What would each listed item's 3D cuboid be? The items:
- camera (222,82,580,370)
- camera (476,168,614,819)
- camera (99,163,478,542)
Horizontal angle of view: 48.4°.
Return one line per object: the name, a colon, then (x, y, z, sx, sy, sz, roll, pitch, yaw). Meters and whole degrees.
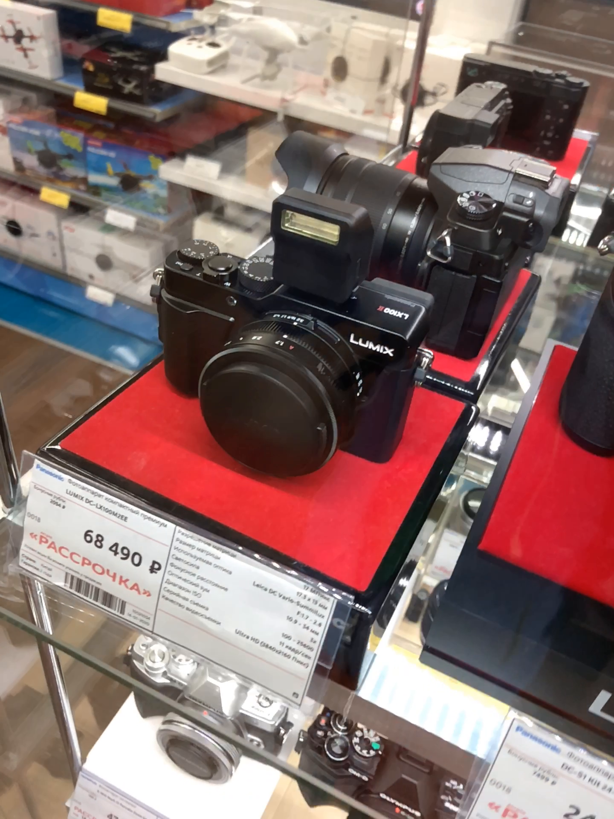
camera: (0.046, -0.104, 0.361, 0.149, 0.081, 0.099, 23, 41, 18)
camera: (0.186, 0.026, 0.238, 0.175, 0.114, 0.227, 21, 41, 16)
camera: (-0.009, -0.026, 0.273, 0.117, 0.098, 0.070, 21, 41, 16)
